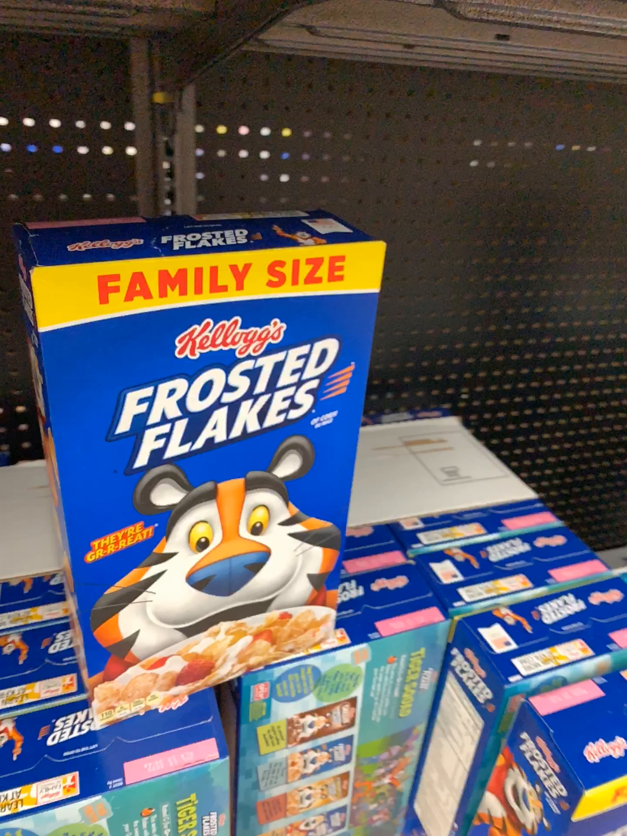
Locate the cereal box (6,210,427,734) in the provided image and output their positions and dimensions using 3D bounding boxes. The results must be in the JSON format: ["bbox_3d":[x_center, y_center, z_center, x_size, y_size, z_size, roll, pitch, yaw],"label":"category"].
[{"bbox_3d":[-0.061,0.037,0.430,0.210,0.318,0.080,-10,33,-25],"label":"cereal box"}]
